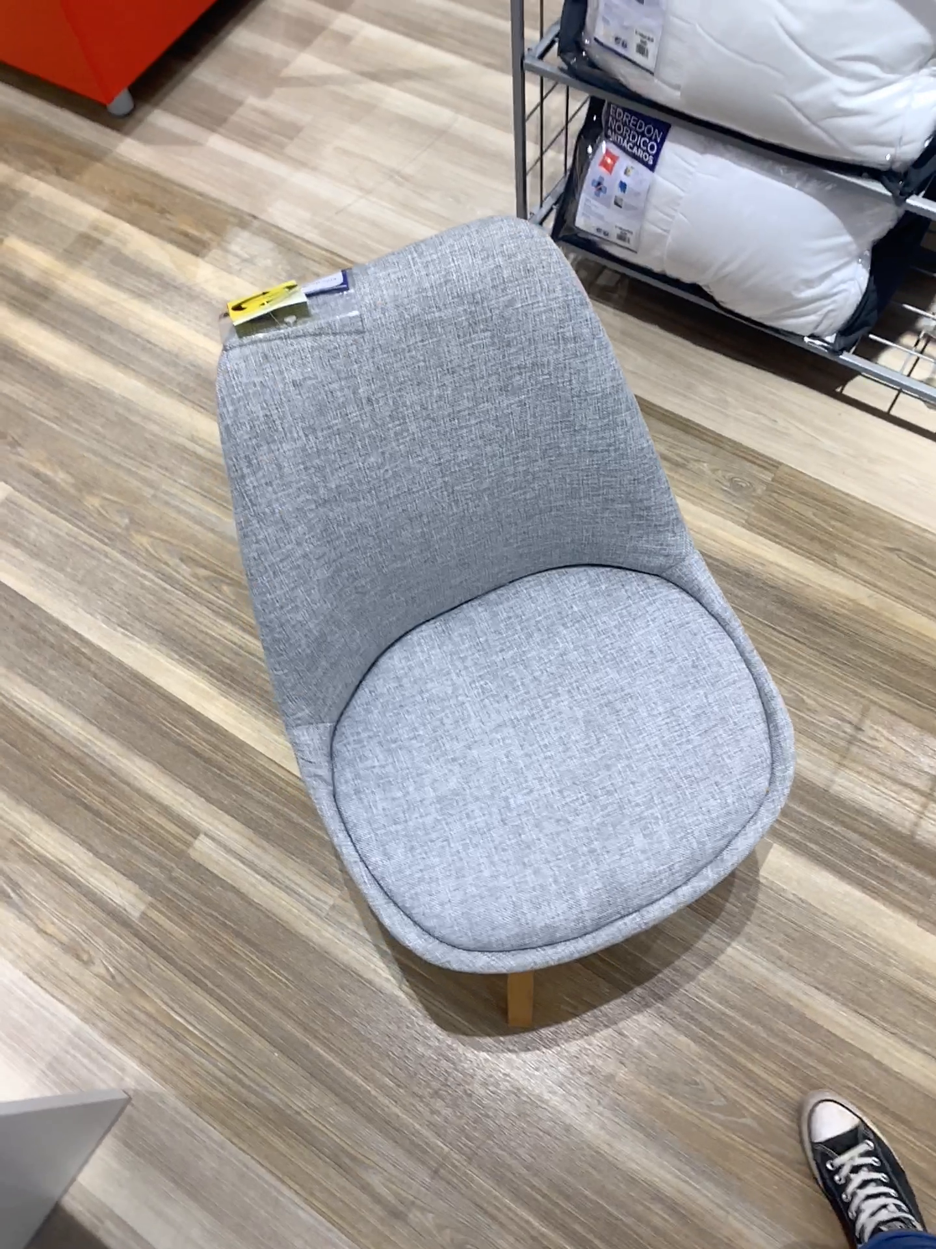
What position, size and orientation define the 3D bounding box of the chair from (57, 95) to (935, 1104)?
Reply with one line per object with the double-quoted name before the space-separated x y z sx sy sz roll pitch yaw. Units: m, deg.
"chair" 0.085 0.089 0.984 0.513 0.858 0.516 -25 66 -6
